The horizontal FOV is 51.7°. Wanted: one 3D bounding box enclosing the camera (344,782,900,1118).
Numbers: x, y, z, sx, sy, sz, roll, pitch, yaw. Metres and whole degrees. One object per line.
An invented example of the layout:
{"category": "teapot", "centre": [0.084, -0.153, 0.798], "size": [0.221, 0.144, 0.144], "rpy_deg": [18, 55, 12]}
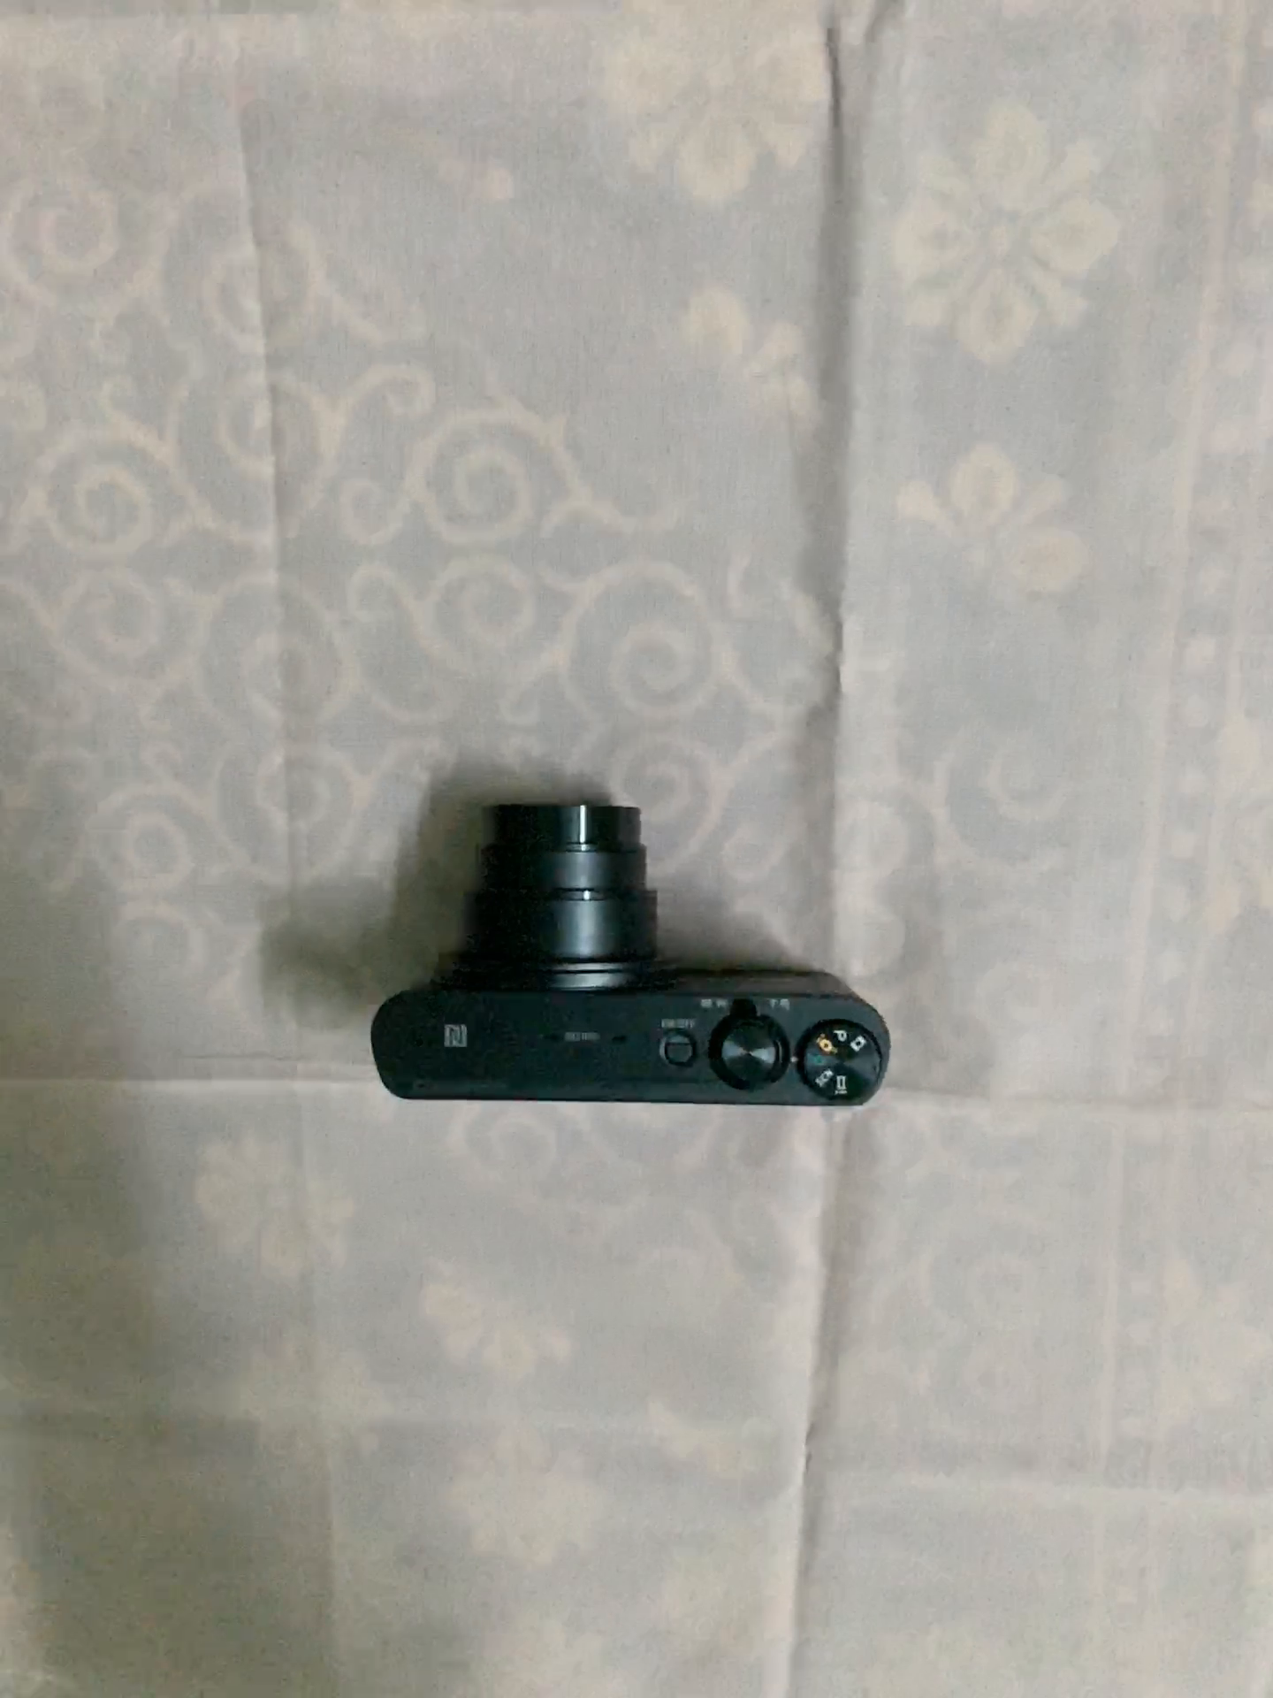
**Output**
{"category": "camera", "centre": [-0.002, 0.017, 0.269], "size": [0.100, 0.060, 0.058], "rpy_deg": [0, 96, 3]}
